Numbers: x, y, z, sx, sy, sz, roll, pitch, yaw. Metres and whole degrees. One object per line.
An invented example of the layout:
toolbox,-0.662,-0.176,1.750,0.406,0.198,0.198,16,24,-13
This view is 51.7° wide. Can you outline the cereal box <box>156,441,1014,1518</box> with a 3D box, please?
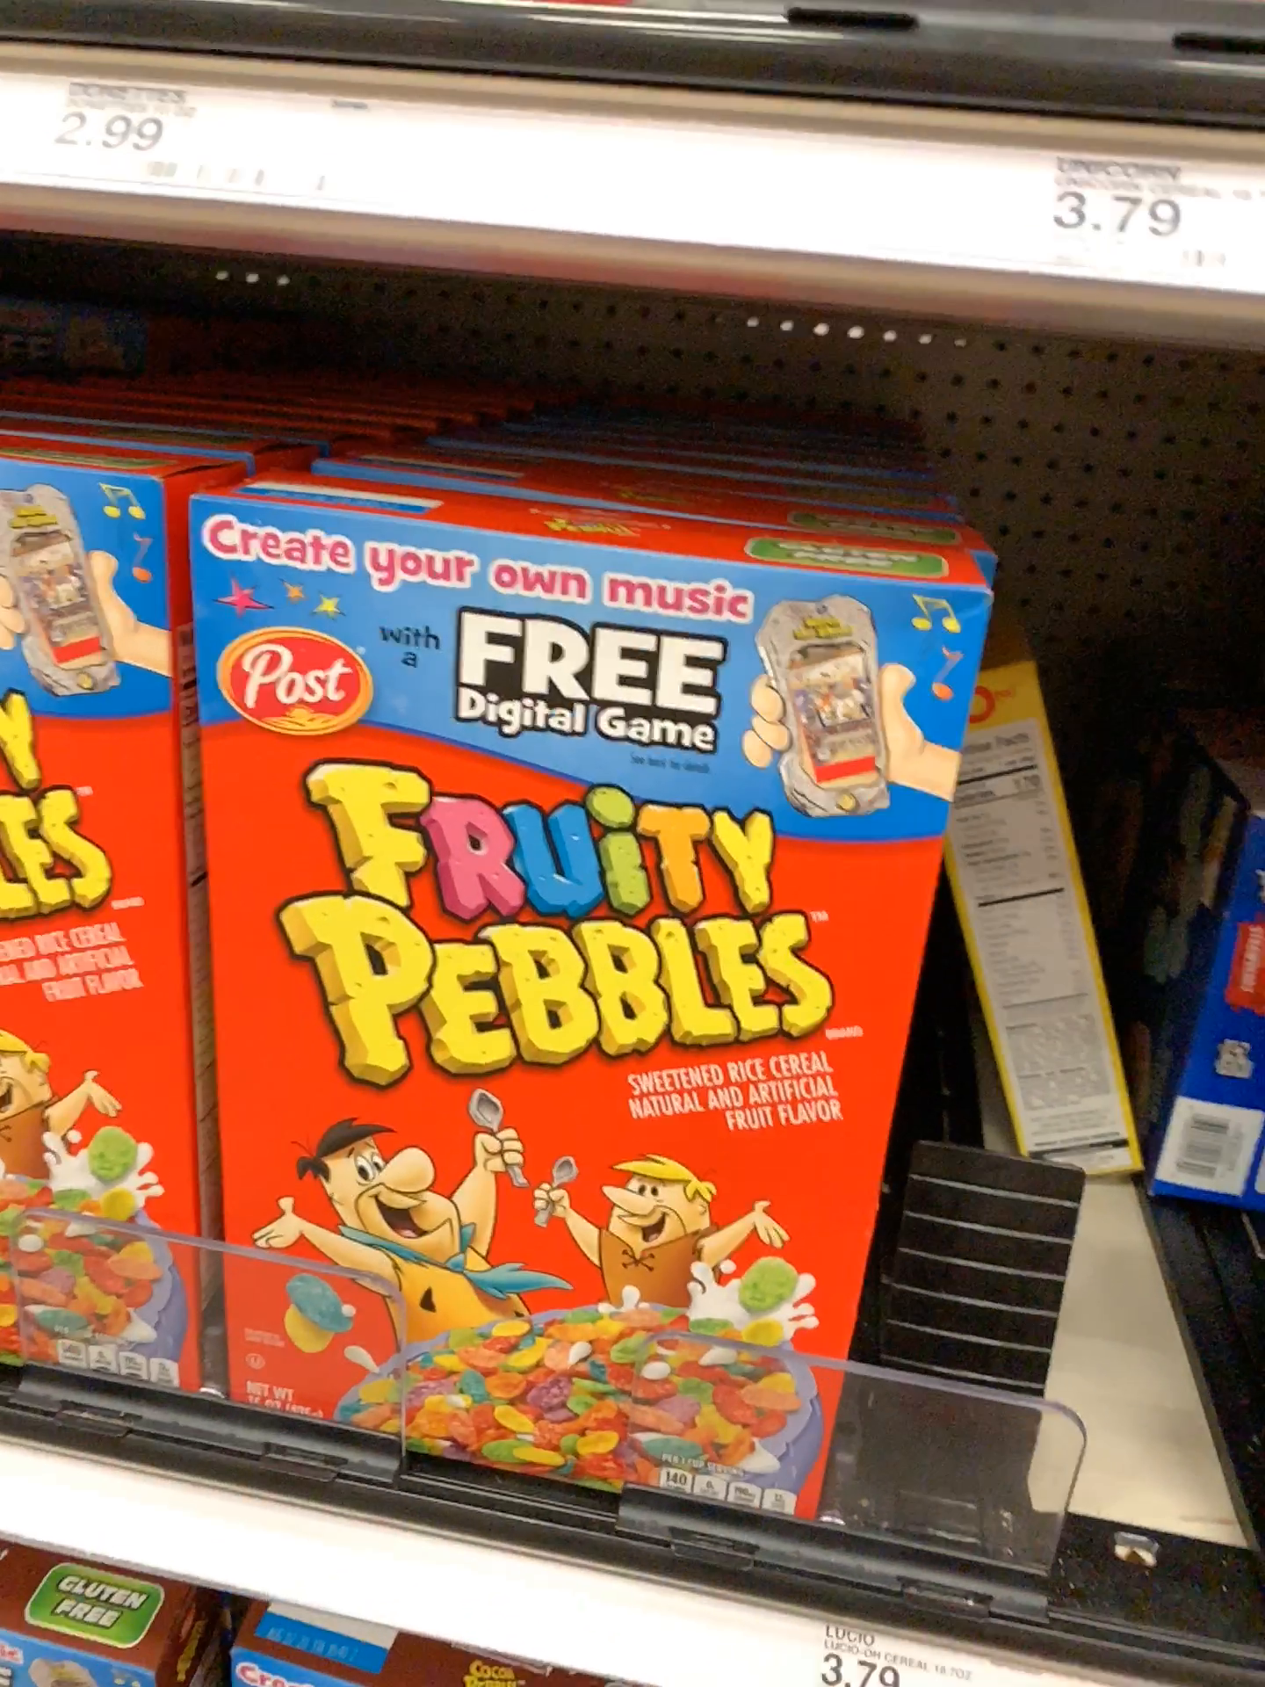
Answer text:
cereal box,-0.021,0.046,0.380,0.200,0.289,0.060,8,23,8
